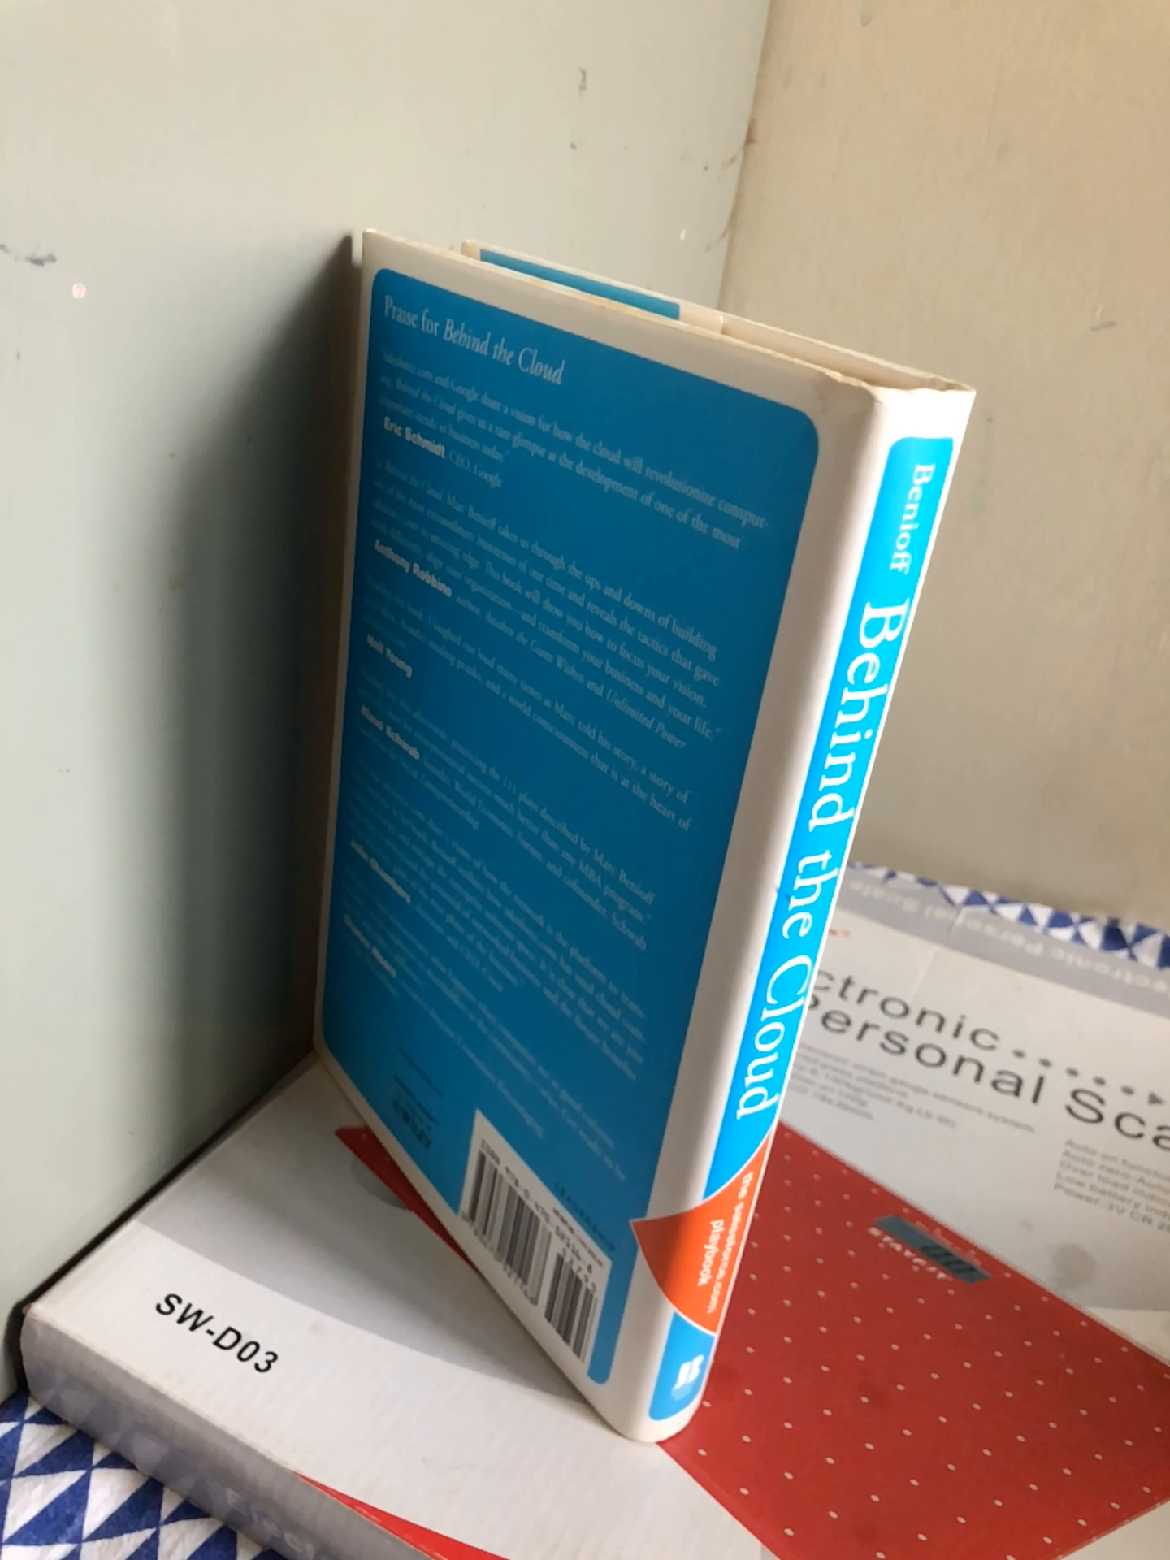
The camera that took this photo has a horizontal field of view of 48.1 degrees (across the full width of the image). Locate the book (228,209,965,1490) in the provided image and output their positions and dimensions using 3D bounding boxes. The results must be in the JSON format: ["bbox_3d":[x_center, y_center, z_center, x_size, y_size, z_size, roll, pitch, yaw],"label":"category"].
[{"bbox_3d":[-0.025,0.004,0.311,0.040,0.239,0.190,-13,31,-35],"label":"book"}]
